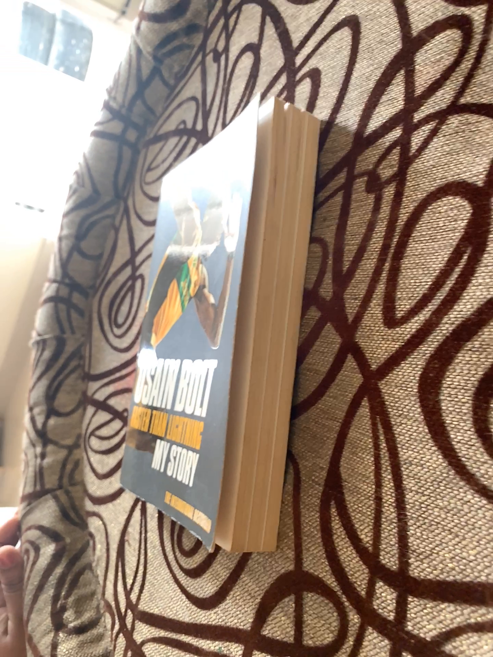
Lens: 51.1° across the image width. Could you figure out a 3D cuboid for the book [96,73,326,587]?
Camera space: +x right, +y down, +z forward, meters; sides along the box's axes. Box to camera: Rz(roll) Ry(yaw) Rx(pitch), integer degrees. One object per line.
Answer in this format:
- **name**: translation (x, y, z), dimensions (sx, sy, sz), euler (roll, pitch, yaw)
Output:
- **book**: translation (-0.027, -0.001, 0.265), dimensions (0.141, 0.030, 0.200), euler (-4, 77, 59)
